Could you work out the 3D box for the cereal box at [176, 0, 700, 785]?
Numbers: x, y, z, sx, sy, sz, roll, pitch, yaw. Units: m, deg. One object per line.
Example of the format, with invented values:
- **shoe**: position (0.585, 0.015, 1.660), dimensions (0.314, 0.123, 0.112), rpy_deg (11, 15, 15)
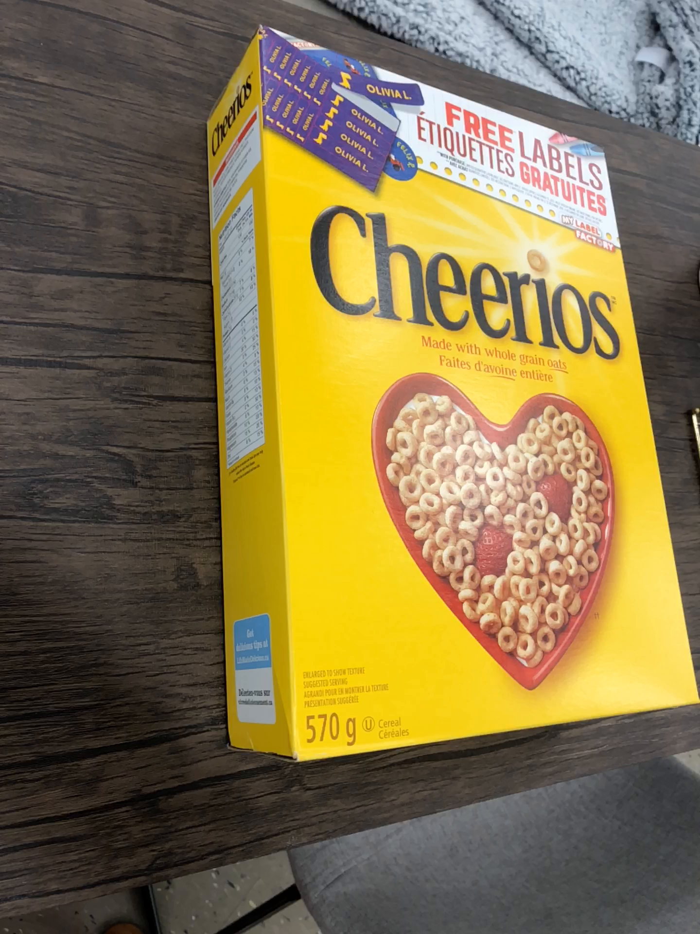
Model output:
- **cereal box**: position (0.044, -0.034, 0.418), dimensions (0.241, 0.100, 0.340), rpy_deg (3, 75, -29)
